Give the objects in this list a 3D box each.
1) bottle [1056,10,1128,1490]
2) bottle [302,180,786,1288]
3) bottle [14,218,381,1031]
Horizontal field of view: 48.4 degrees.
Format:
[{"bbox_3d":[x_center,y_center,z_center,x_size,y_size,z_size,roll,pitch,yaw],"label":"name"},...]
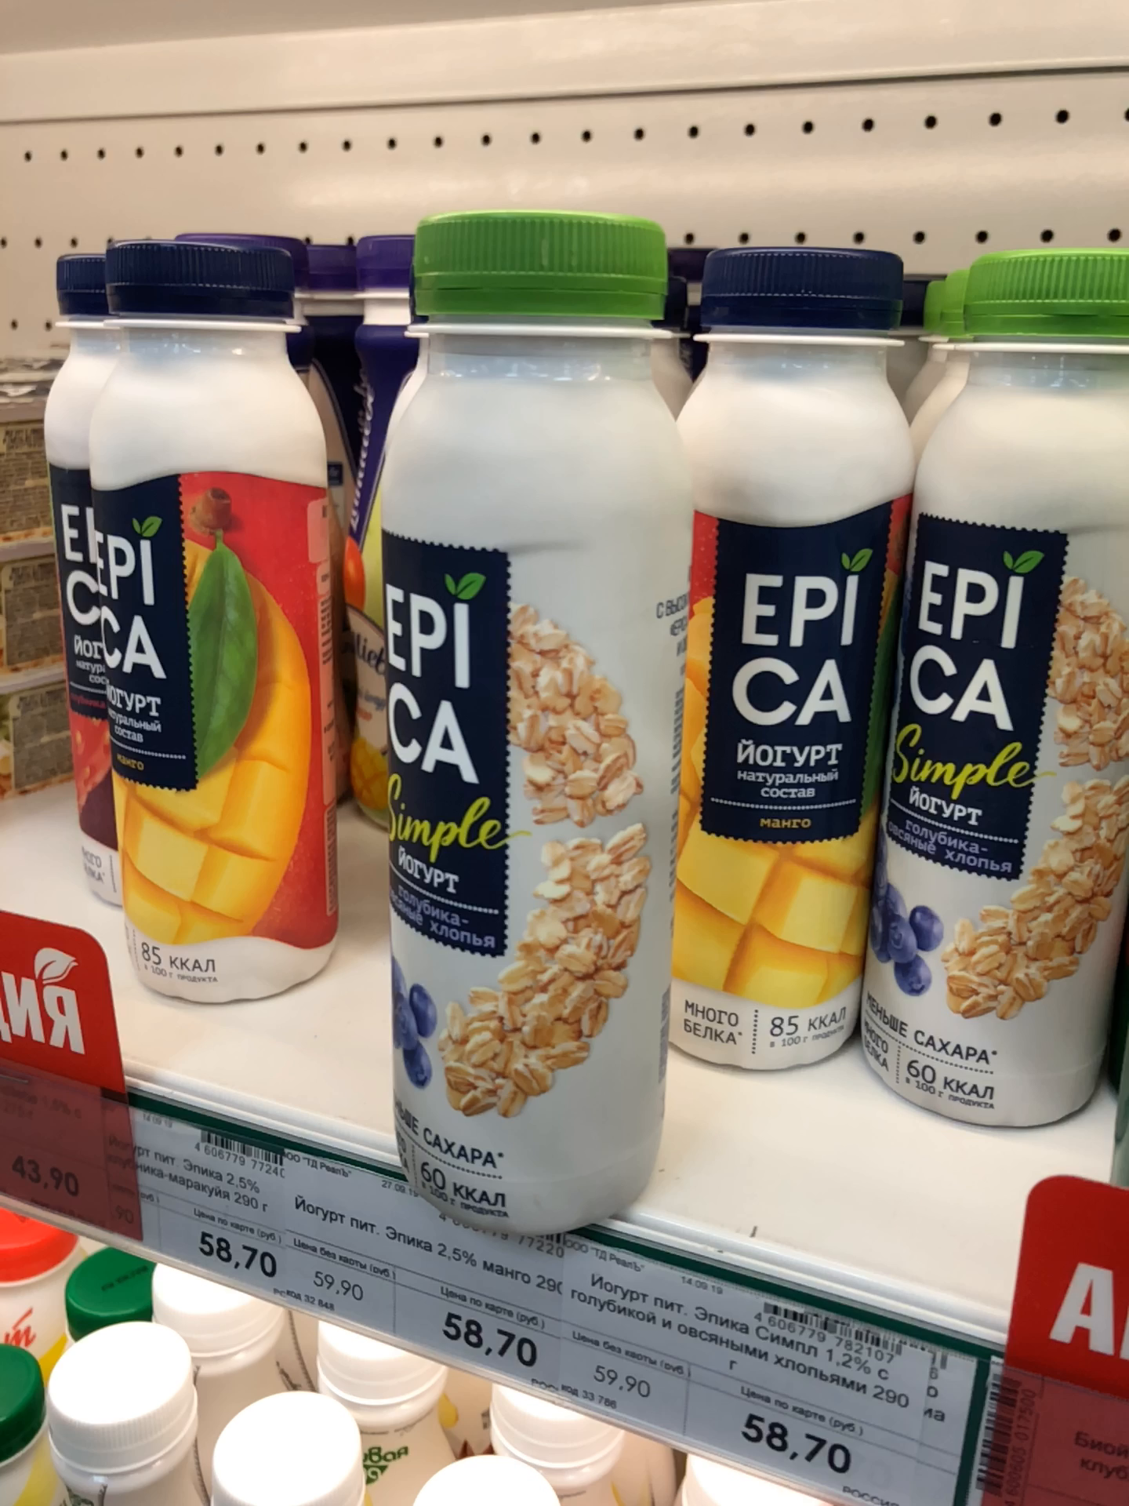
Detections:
[{"bbox_3d":[0.120,0.004,0.181,0.052,0.182,0.053,0,19,0],"label":"bottle"},{"bbox_3d":[-0.004,-0.003,0.219,0.052,0.170,0.053,0,19,0],"label":"bottle"},{"bbox_3d":[-0.082,-0.030,0.292,0.049,0.170,0.053,0,19,0],"label":"bottle"}]
